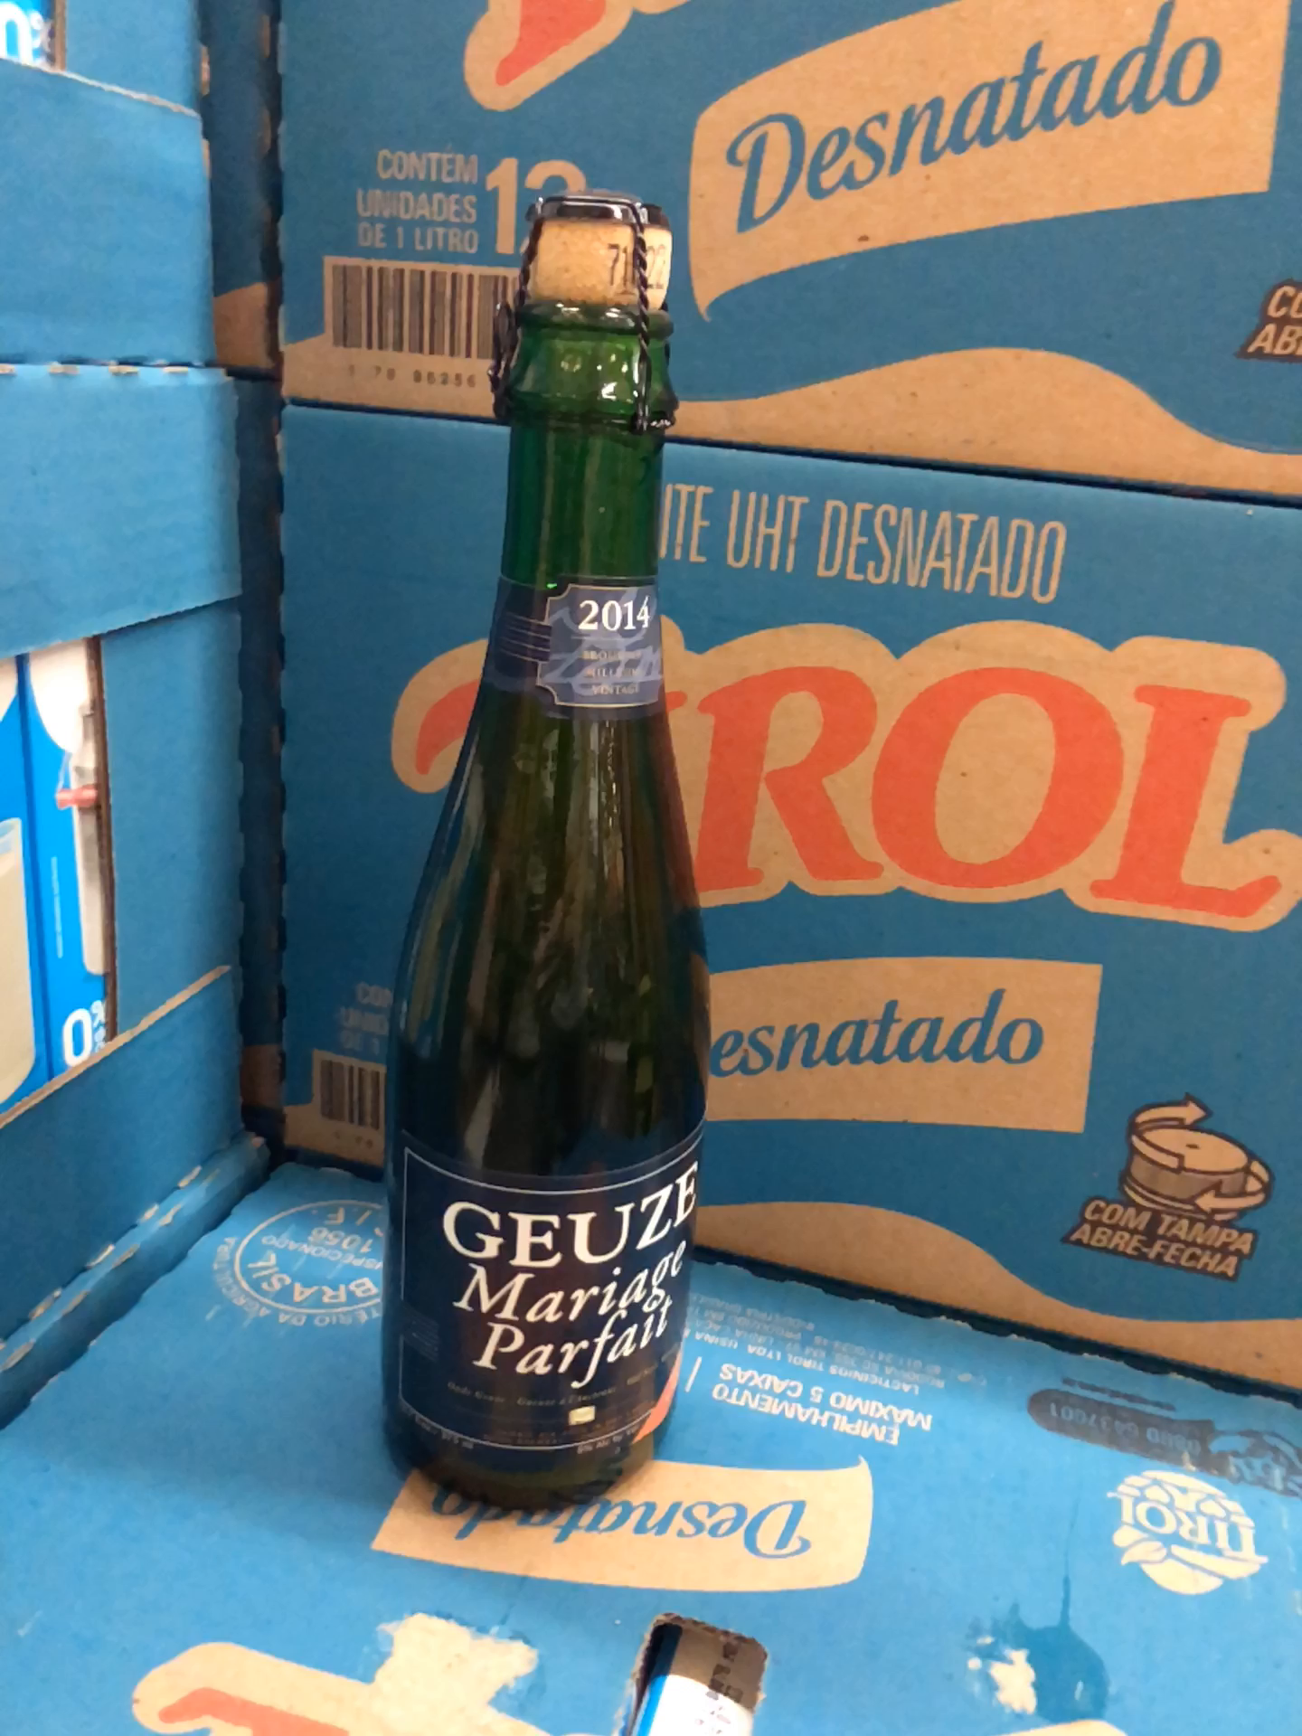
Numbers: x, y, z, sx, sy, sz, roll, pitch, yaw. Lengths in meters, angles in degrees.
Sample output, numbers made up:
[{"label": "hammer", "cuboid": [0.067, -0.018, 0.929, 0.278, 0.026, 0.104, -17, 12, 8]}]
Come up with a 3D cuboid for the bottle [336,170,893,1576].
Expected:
[{"label": "bottle", "cuboid": [-0.017, 0.008, 0.290, 0.070, 0.258, 0.060, -3, 21, -26]}]
